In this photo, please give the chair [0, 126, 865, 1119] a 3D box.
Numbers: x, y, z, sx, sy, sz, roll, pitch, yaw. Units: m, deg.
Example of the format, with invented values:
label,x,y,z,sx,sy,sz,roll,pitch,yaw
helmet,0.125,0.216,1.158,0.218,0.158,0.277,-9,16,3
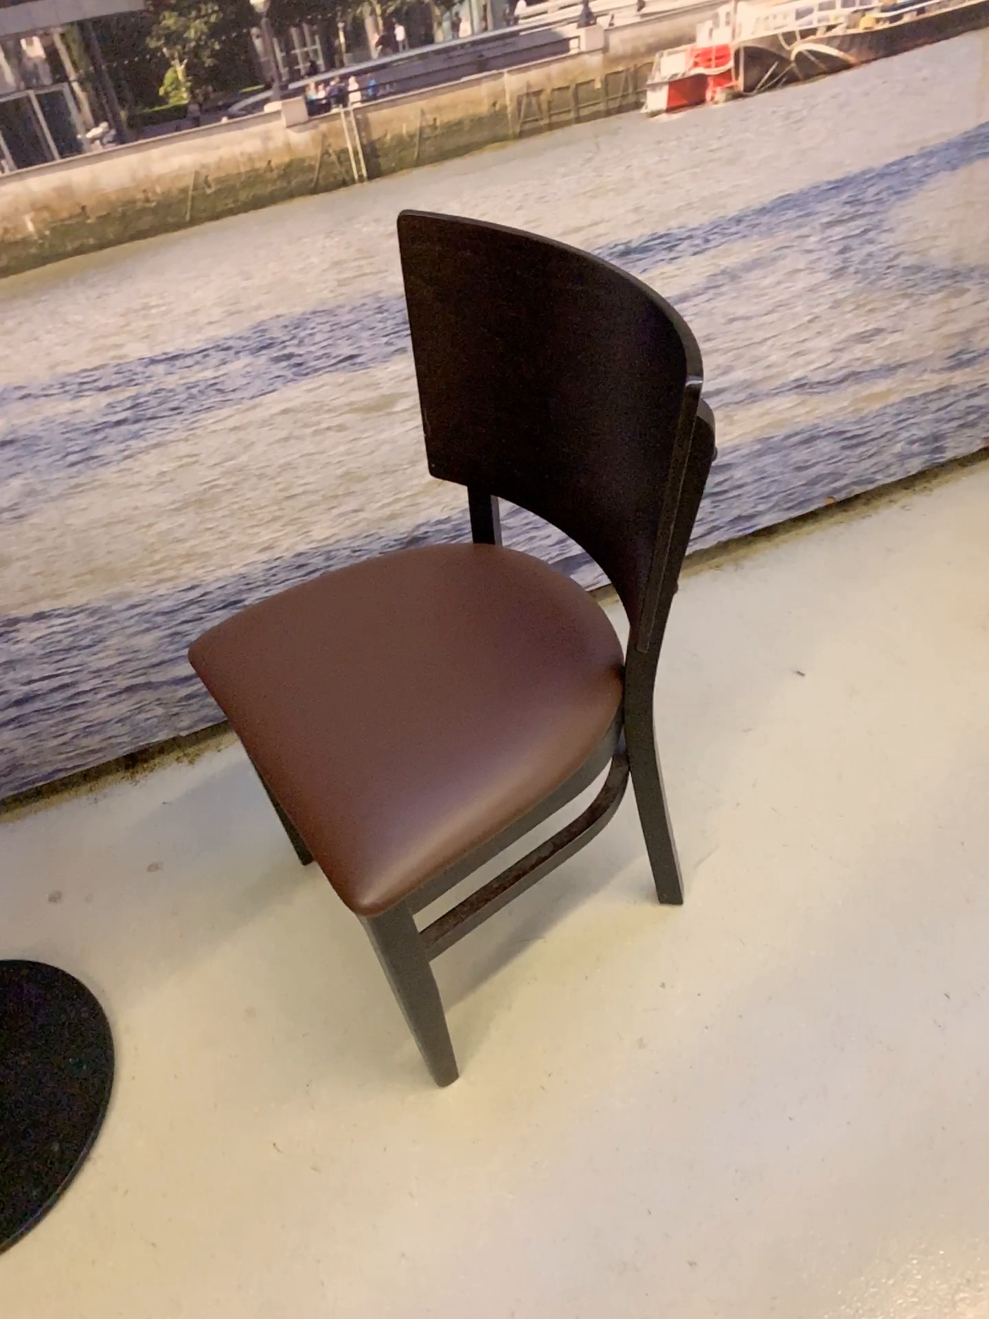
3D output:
label,x,y,z,sx,sy,sz,roll,pitch,yaw
chair,-0.056,-0.037,1.069,0.517,0.729,0.562,-28,48,-17
